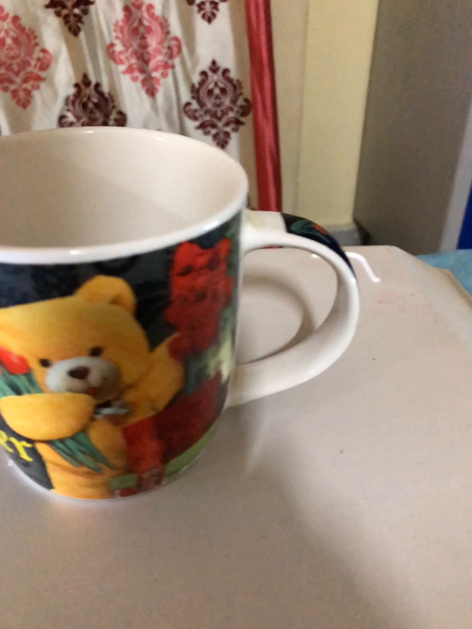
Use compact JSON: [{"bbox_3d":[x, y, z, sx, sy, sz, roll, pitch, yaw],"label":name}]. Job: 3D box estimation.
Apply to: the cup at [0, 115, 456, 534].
[{"bbox_3d":[-0.022,-0.001,0.165,0.130,0.099,0.081,-1,32,-2],"label":"cup"}]
